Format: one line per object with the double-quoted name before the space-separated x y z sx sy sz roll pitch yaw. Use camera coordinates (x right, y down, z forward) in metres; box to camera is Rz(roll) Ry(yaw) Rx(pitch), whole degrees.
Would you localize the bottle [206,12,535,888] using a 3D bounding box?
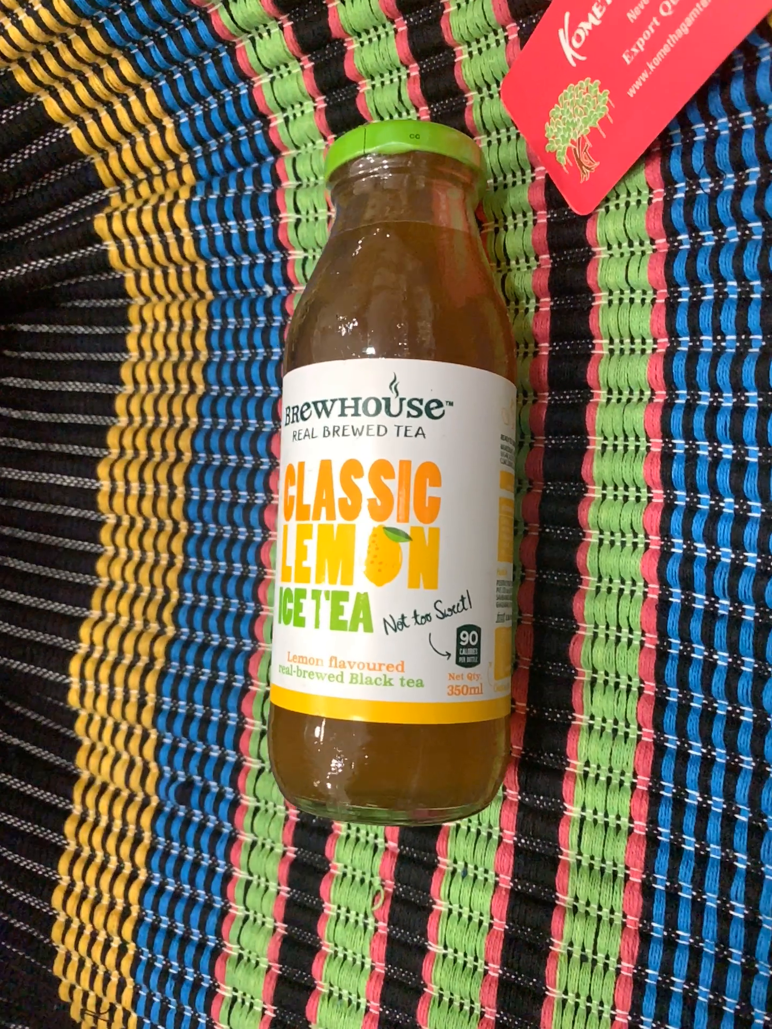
"bottle" 0.000 -0.015 0.199 0.060 0.050 0.180 -1 84 27
